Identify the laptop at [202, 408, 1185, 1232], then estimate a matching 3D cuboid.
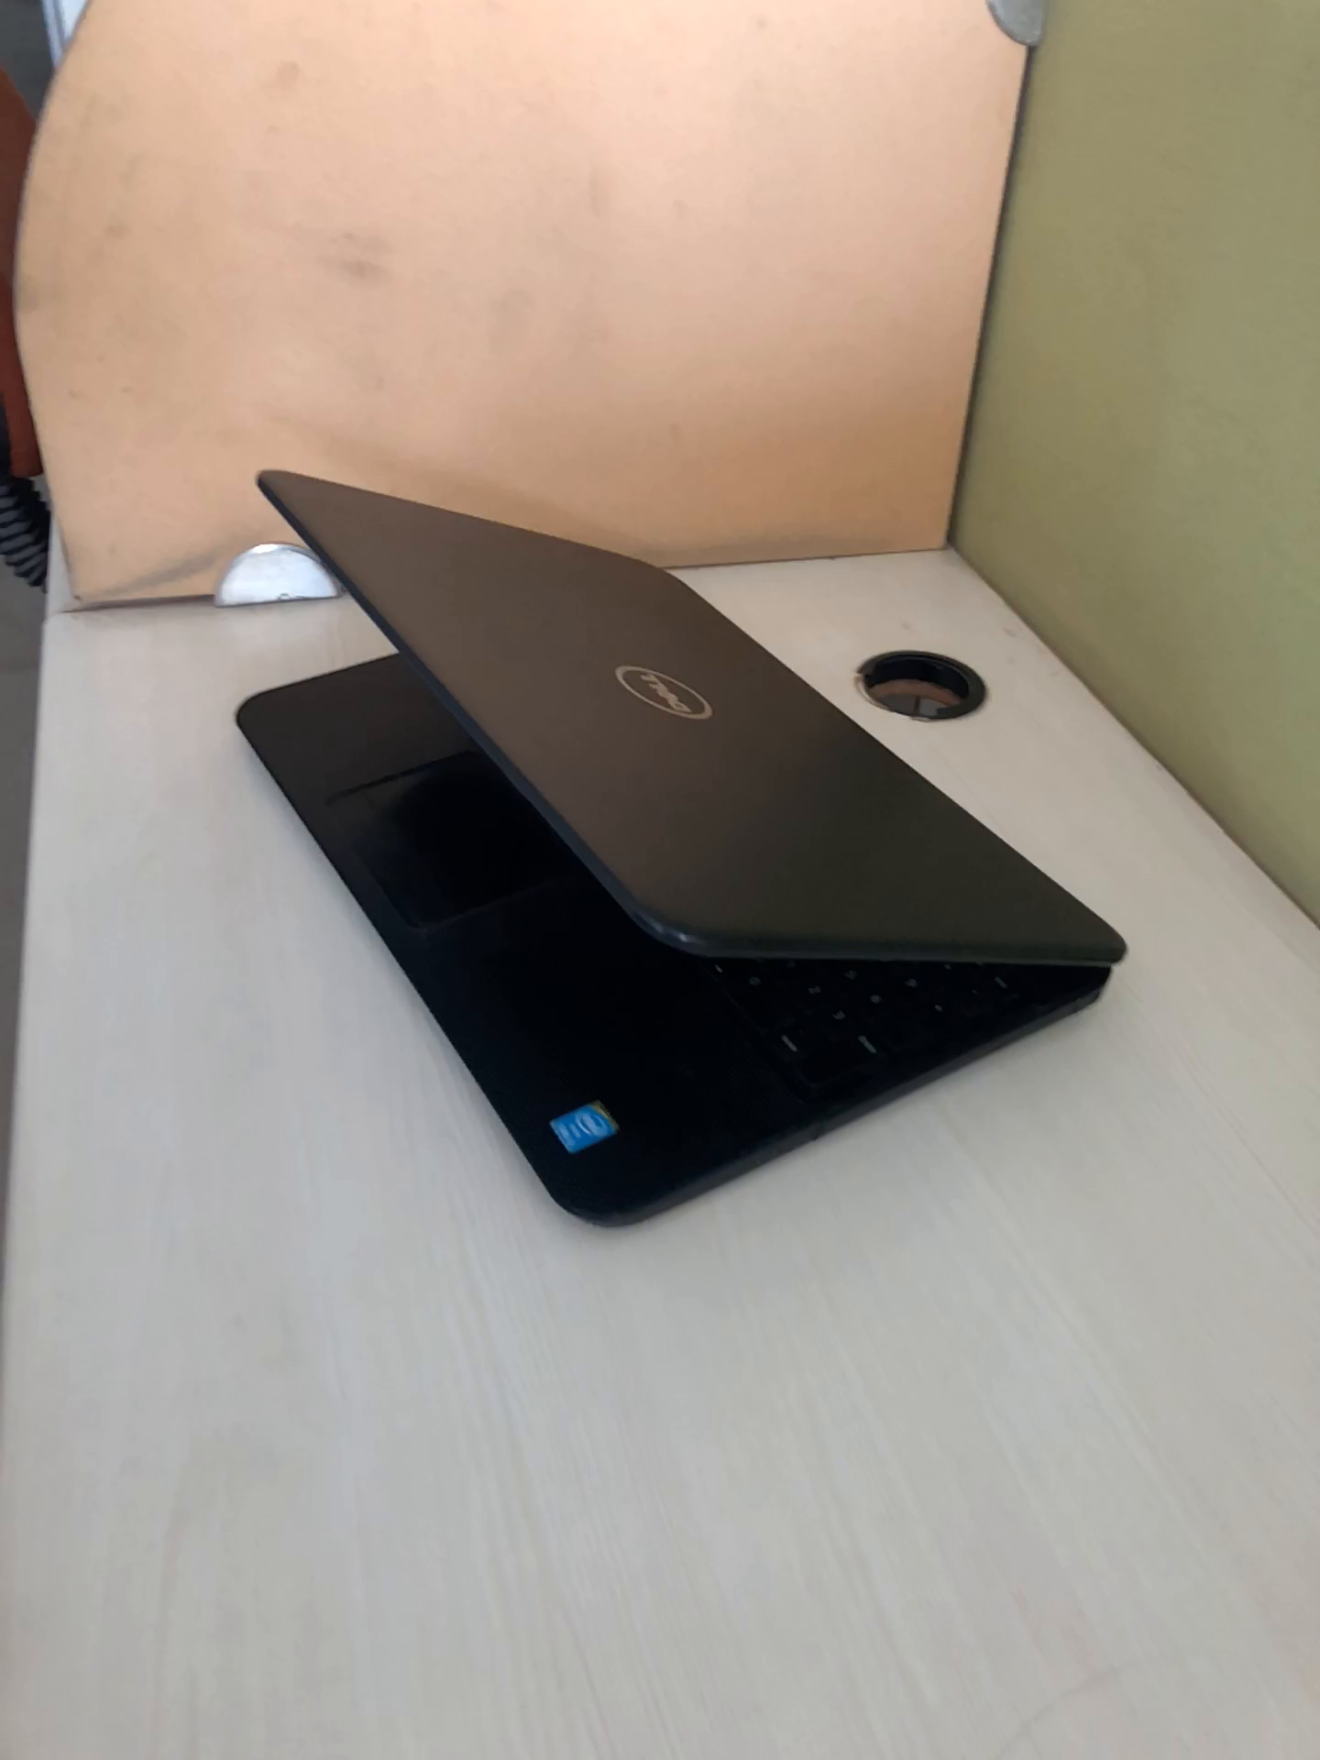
[{"bbox_3d":[-0.012,-0.065,0.627,0.247,0.106,0.368,-20,44,-24],"label":"laptop"}]
